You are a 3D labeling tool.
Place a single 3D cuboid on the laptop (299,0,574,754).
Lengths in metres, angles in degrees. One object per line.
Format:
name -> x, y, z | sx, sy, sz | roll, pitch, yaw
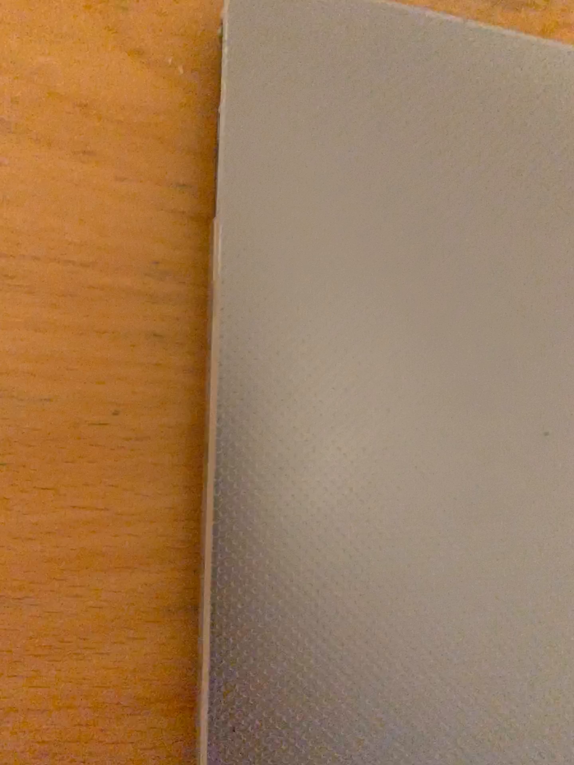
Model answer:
laptop -> 0.145, -0.010, 0.192 | 0.292, 0.005, 0.210 | 2, 87, -16
